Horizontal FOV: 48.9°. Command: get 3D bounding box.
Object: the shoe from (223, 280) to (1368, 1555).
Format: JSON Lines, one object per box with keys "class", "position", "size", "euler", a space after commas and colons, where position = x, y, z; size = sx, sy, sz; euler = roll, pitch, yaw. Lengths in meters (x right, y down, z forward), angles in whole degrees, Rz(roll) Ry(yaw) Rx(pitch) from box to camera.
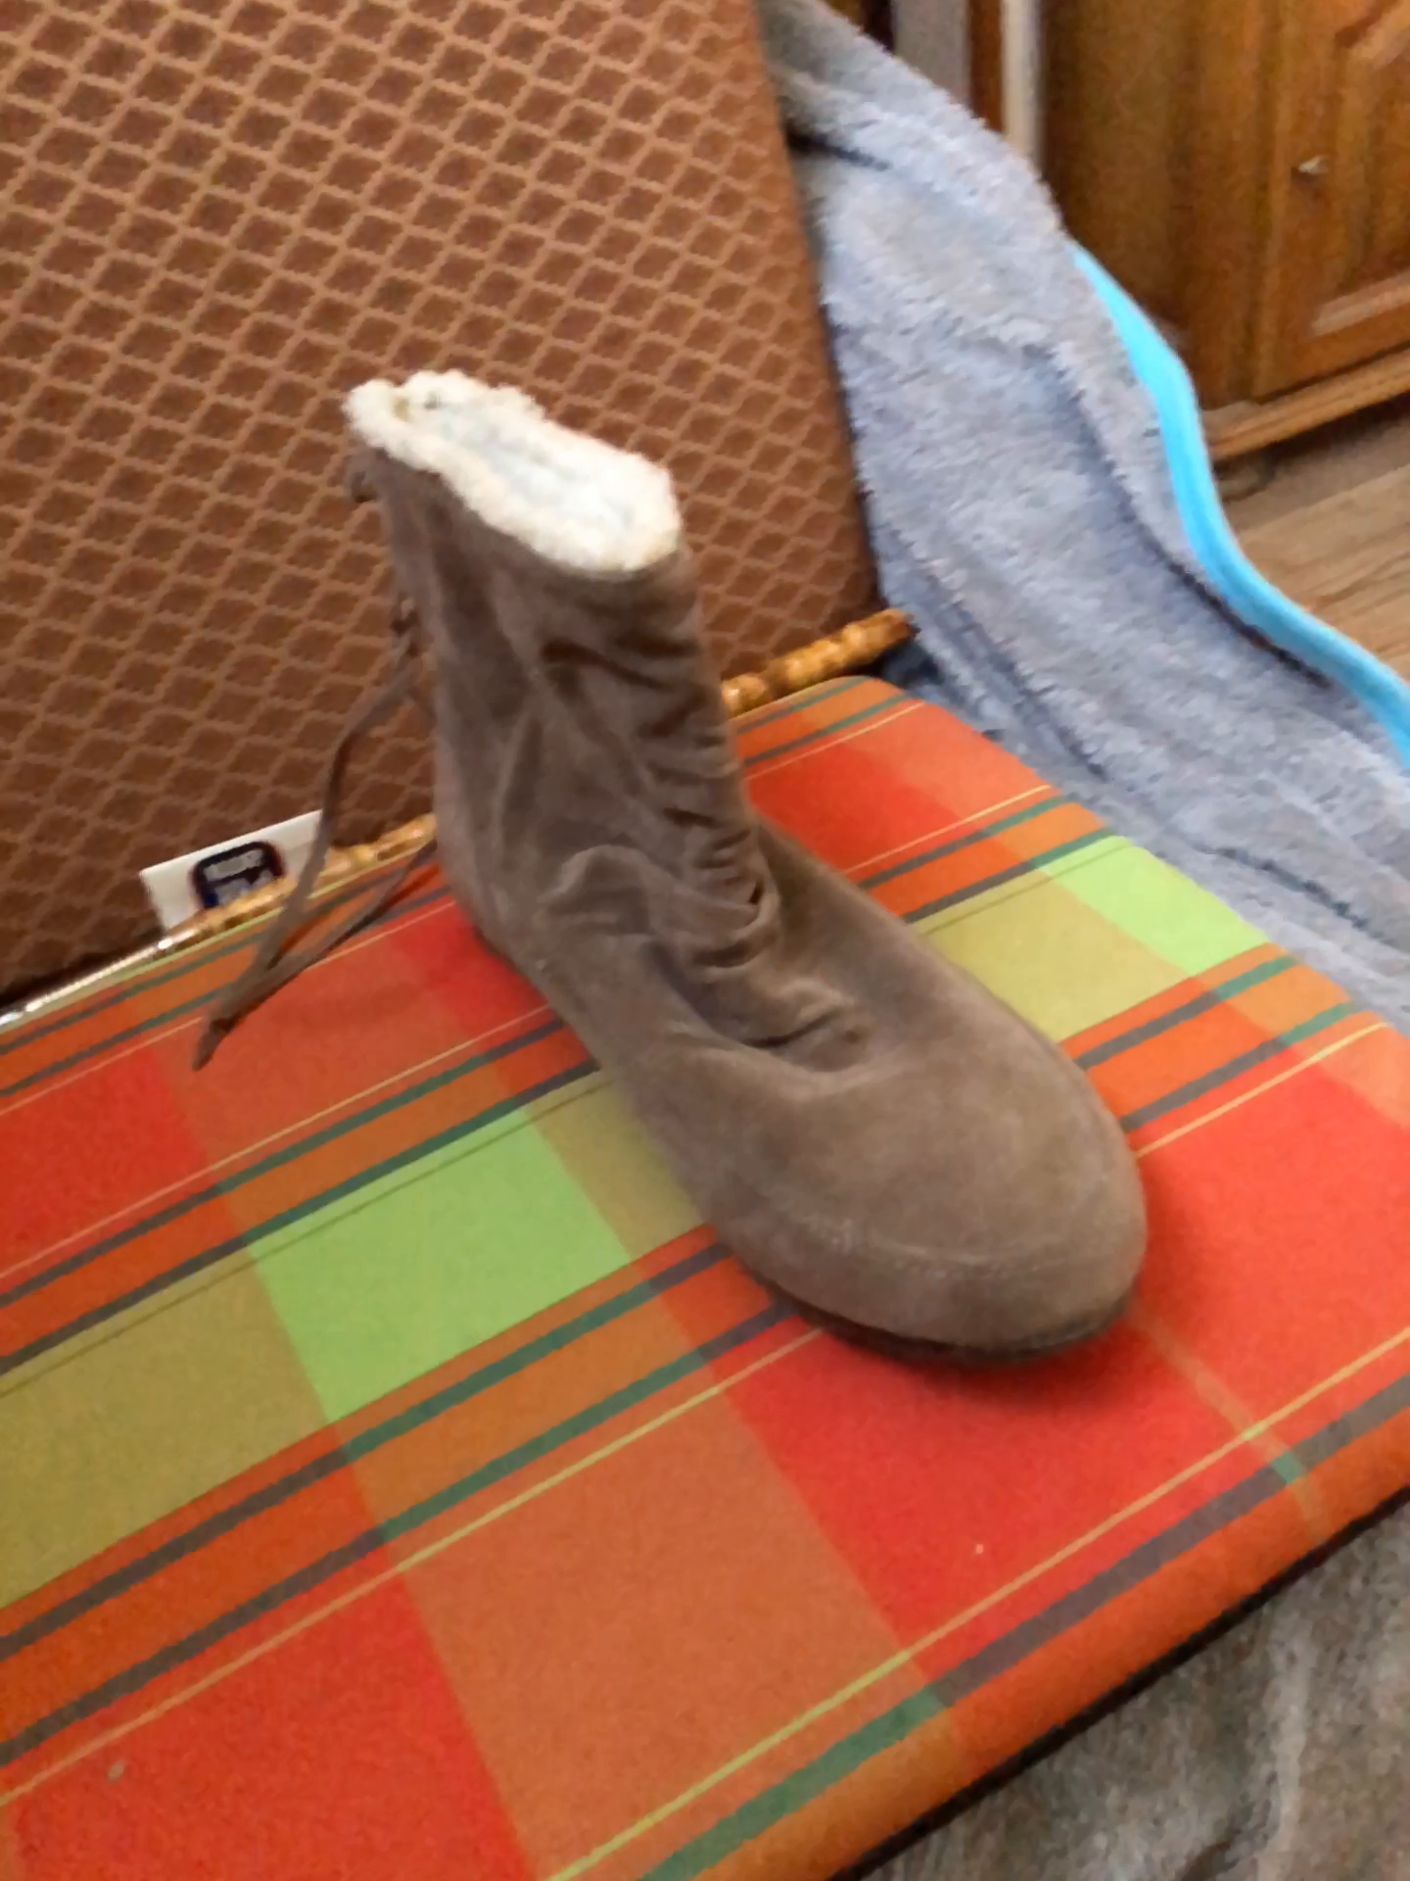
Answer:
{"class": "shoe", "position": [0.003, -0.026, 0.360], "size": [0.100, 0.159, 0.261], "euler": [-28, 45, -17]}
